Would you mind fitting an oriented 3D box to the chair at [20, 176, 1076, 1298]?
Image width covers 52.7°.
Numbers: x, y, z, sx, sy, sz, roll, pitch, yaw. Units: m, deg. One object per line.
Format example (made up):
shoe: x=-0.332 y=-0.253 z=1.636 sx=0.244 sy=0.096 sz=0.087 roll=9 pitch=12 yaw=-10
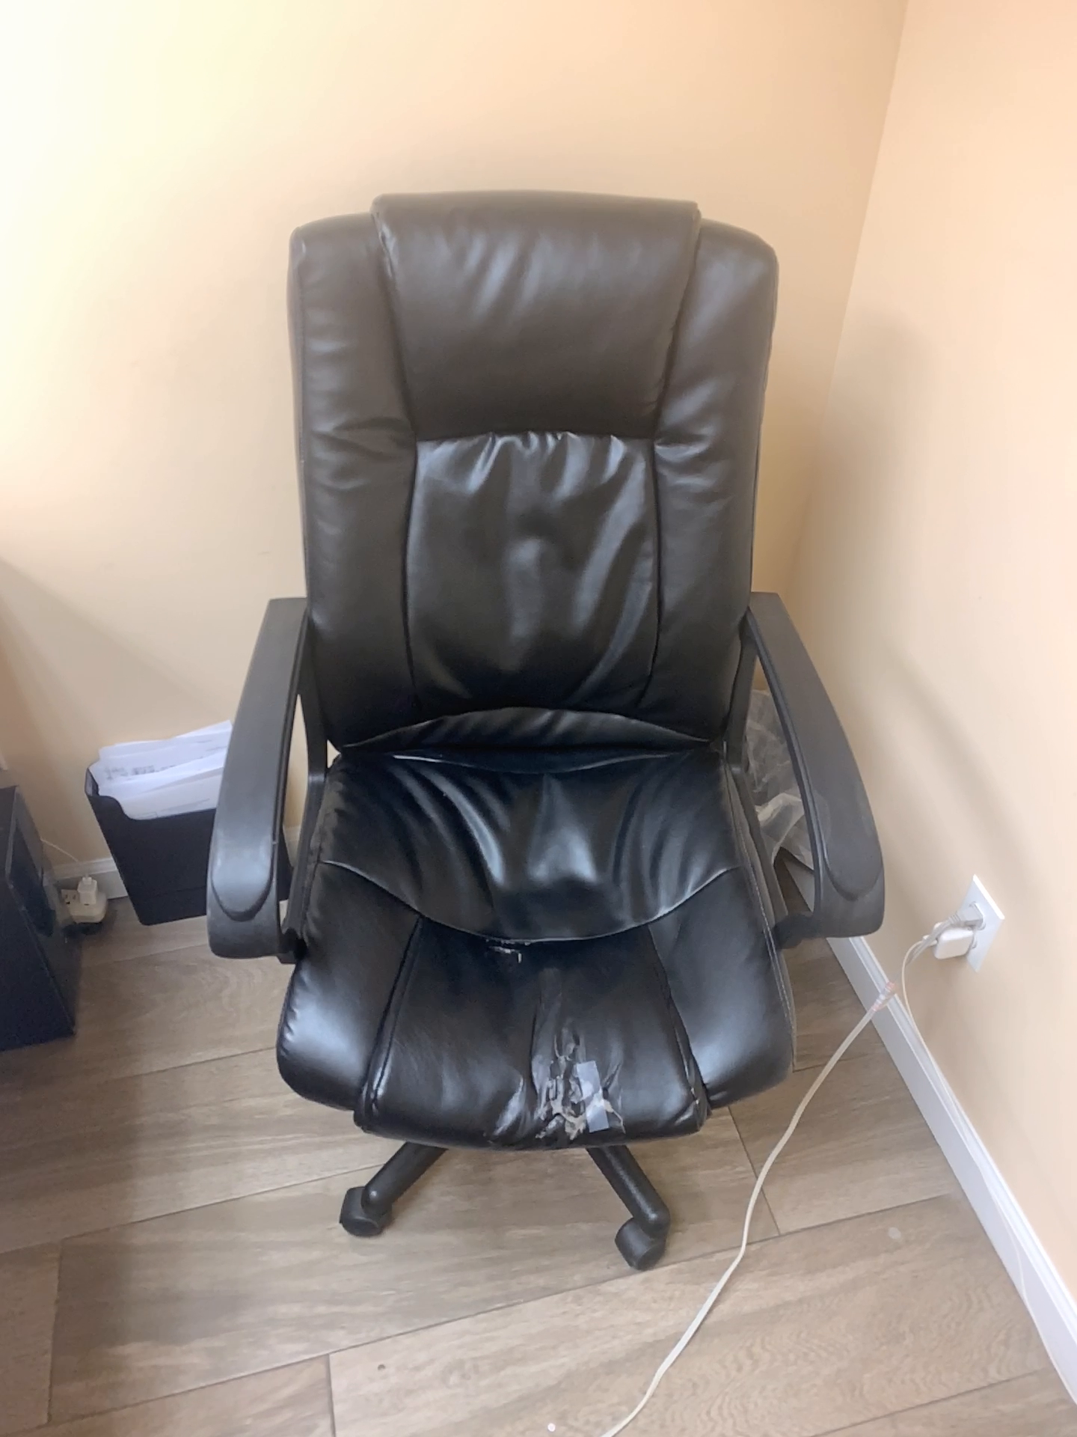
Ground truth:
chair: x=0.017 y=0.081 z=1.200 sx=0.648 sy=1.083 sz=0.630 roll=1 pitch=40 yaw=-2
